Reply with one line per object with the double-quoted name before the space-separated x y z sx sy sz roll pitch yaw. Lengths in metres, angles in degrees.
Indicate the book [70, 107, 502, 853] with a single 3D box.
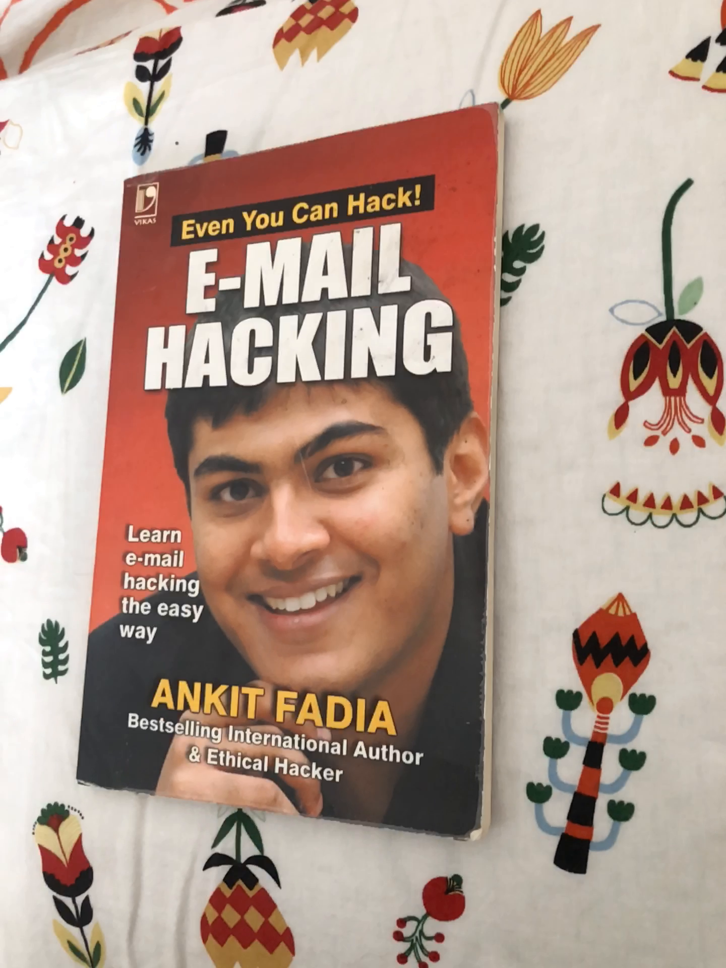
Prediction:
"book" -0.027 -0.003 0.256 0.138 0.020 0.204 -1 85 23
